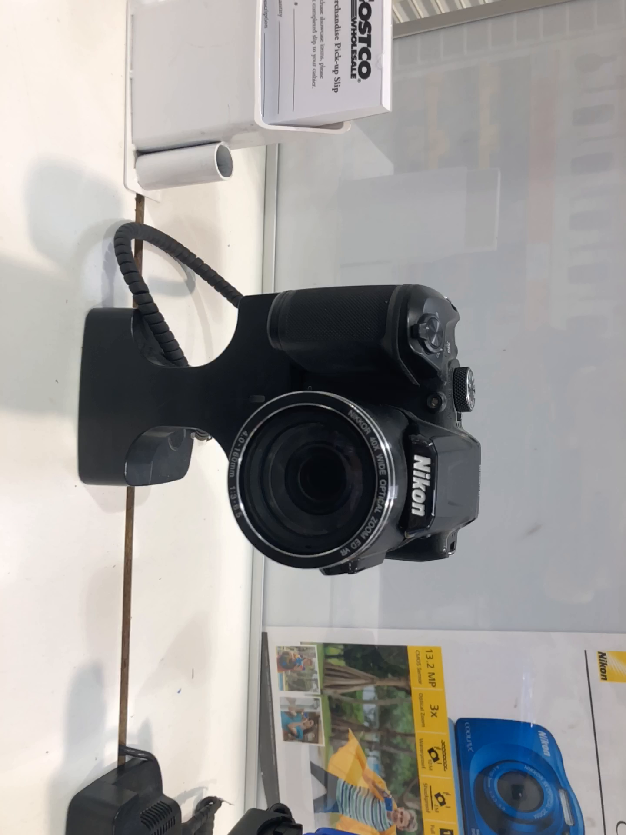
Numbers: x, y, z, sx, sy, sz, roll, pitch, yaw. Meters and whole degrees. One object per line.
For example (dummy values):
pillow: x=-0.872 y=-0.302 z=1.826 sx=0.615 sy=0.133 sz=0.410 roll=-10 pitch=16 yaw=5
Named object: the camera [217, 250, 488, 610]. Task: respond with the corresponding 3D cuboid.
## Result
camera: x=0.022 y=0.003 z=0.285 sx=0.101 sy=0.079 sz=0.116 roll=-2 pitch=93 yaw=-66
